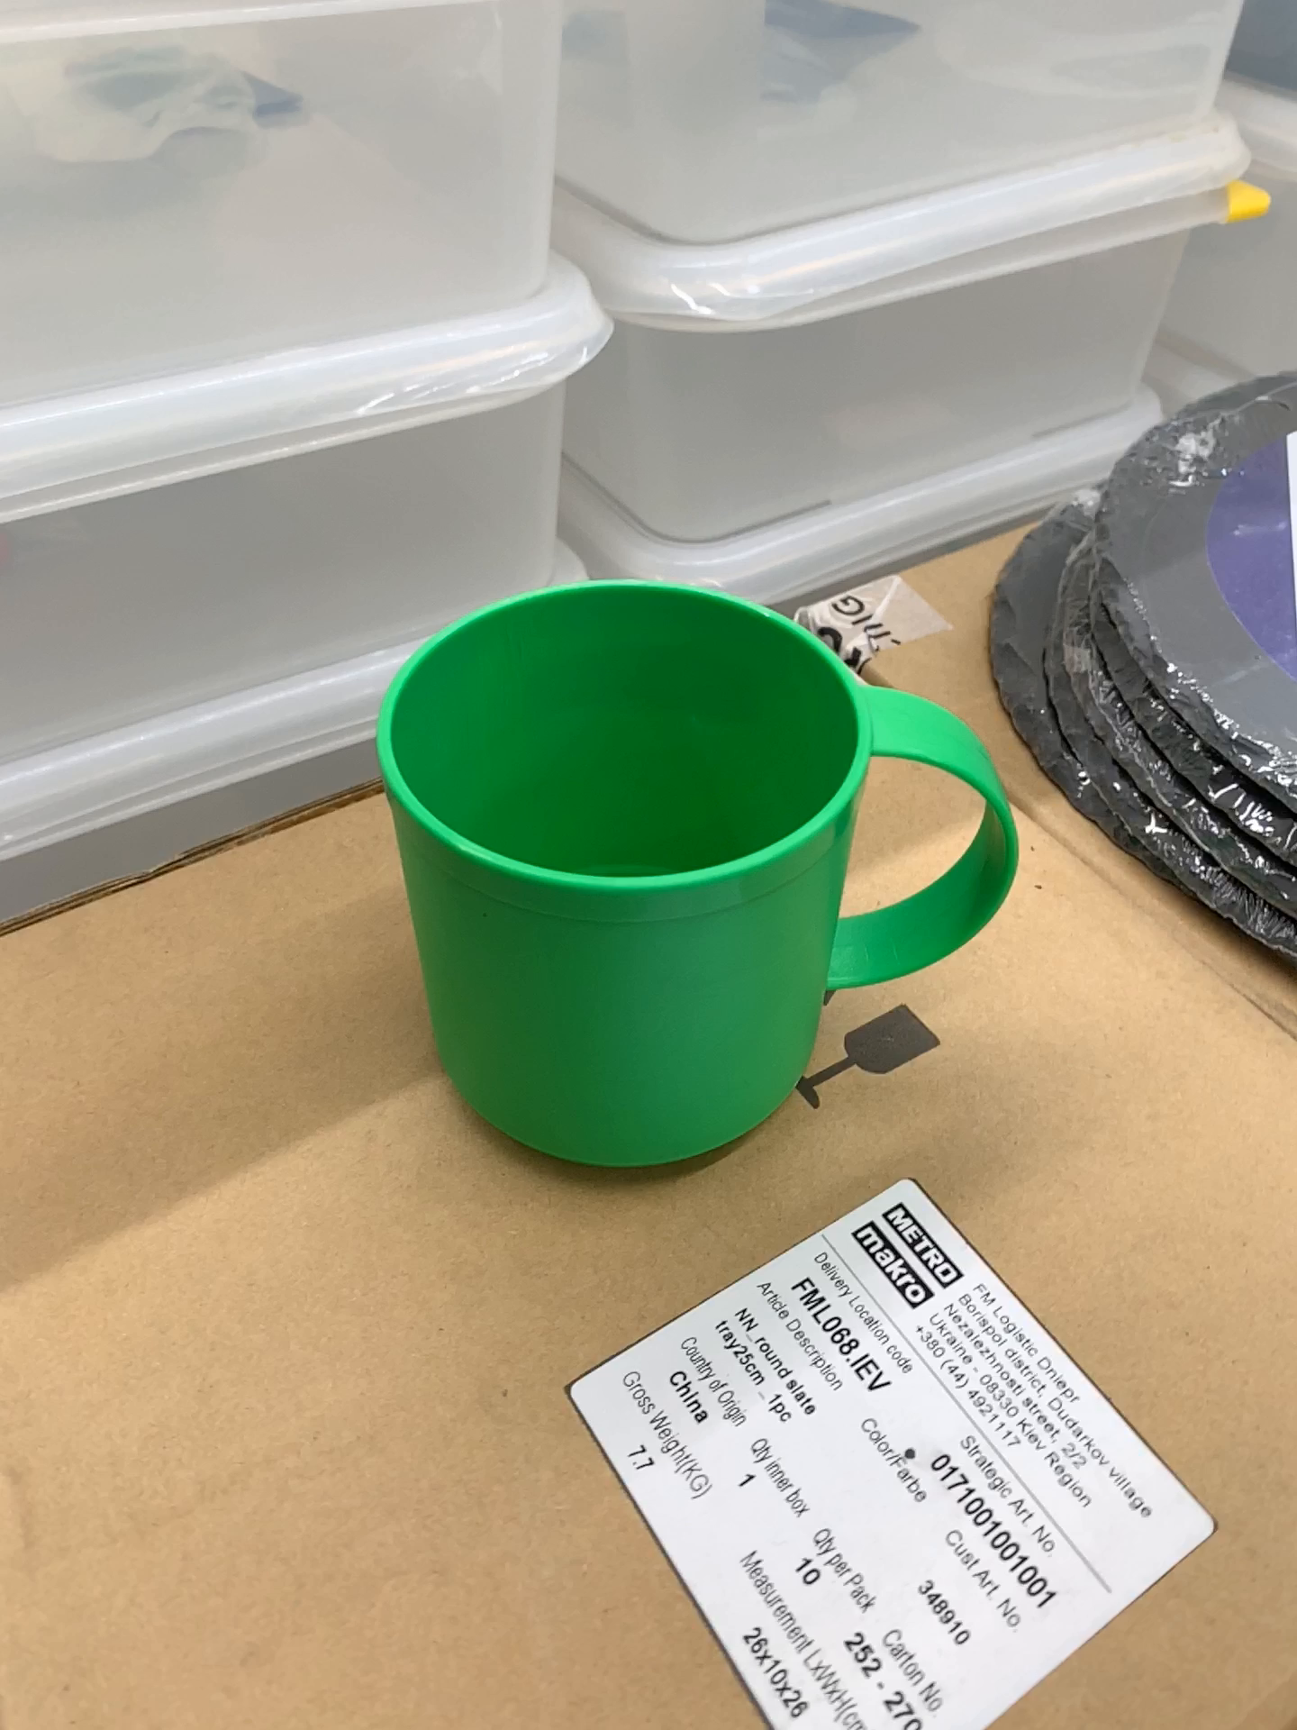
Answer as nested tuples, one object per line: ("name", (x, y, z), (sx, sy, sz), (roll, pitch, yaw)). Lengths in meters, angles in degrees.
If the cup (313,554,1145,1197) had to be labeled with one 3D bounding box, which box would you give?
("cup", (0.009, 0.001, 0.221), (0.105, 0.069, 0.076), (-2, 44, -1))
